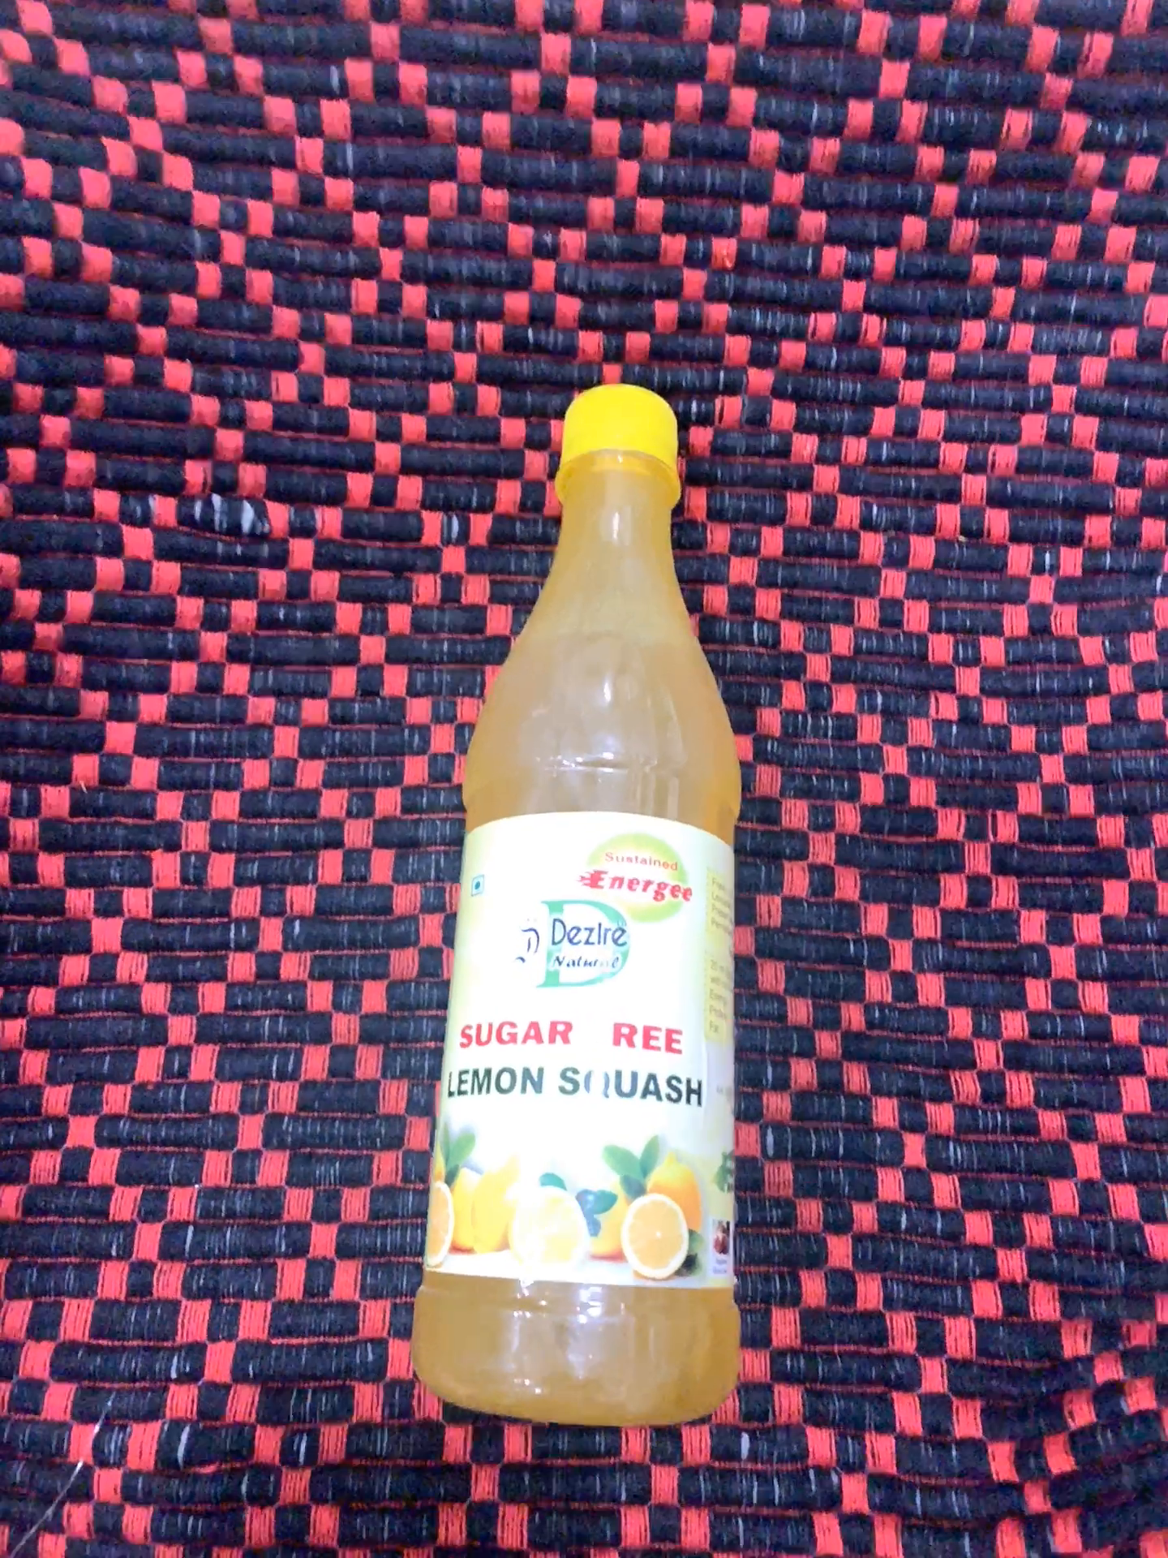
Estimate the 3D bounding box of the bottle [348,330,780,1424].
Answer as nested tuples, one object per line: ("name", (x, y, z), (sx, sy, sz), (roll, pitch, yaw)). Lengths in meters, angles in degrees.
("bottle", (0.002, 0.011, 0.271), (0.070, 0.060, 0.230), (4, 65, -1))
